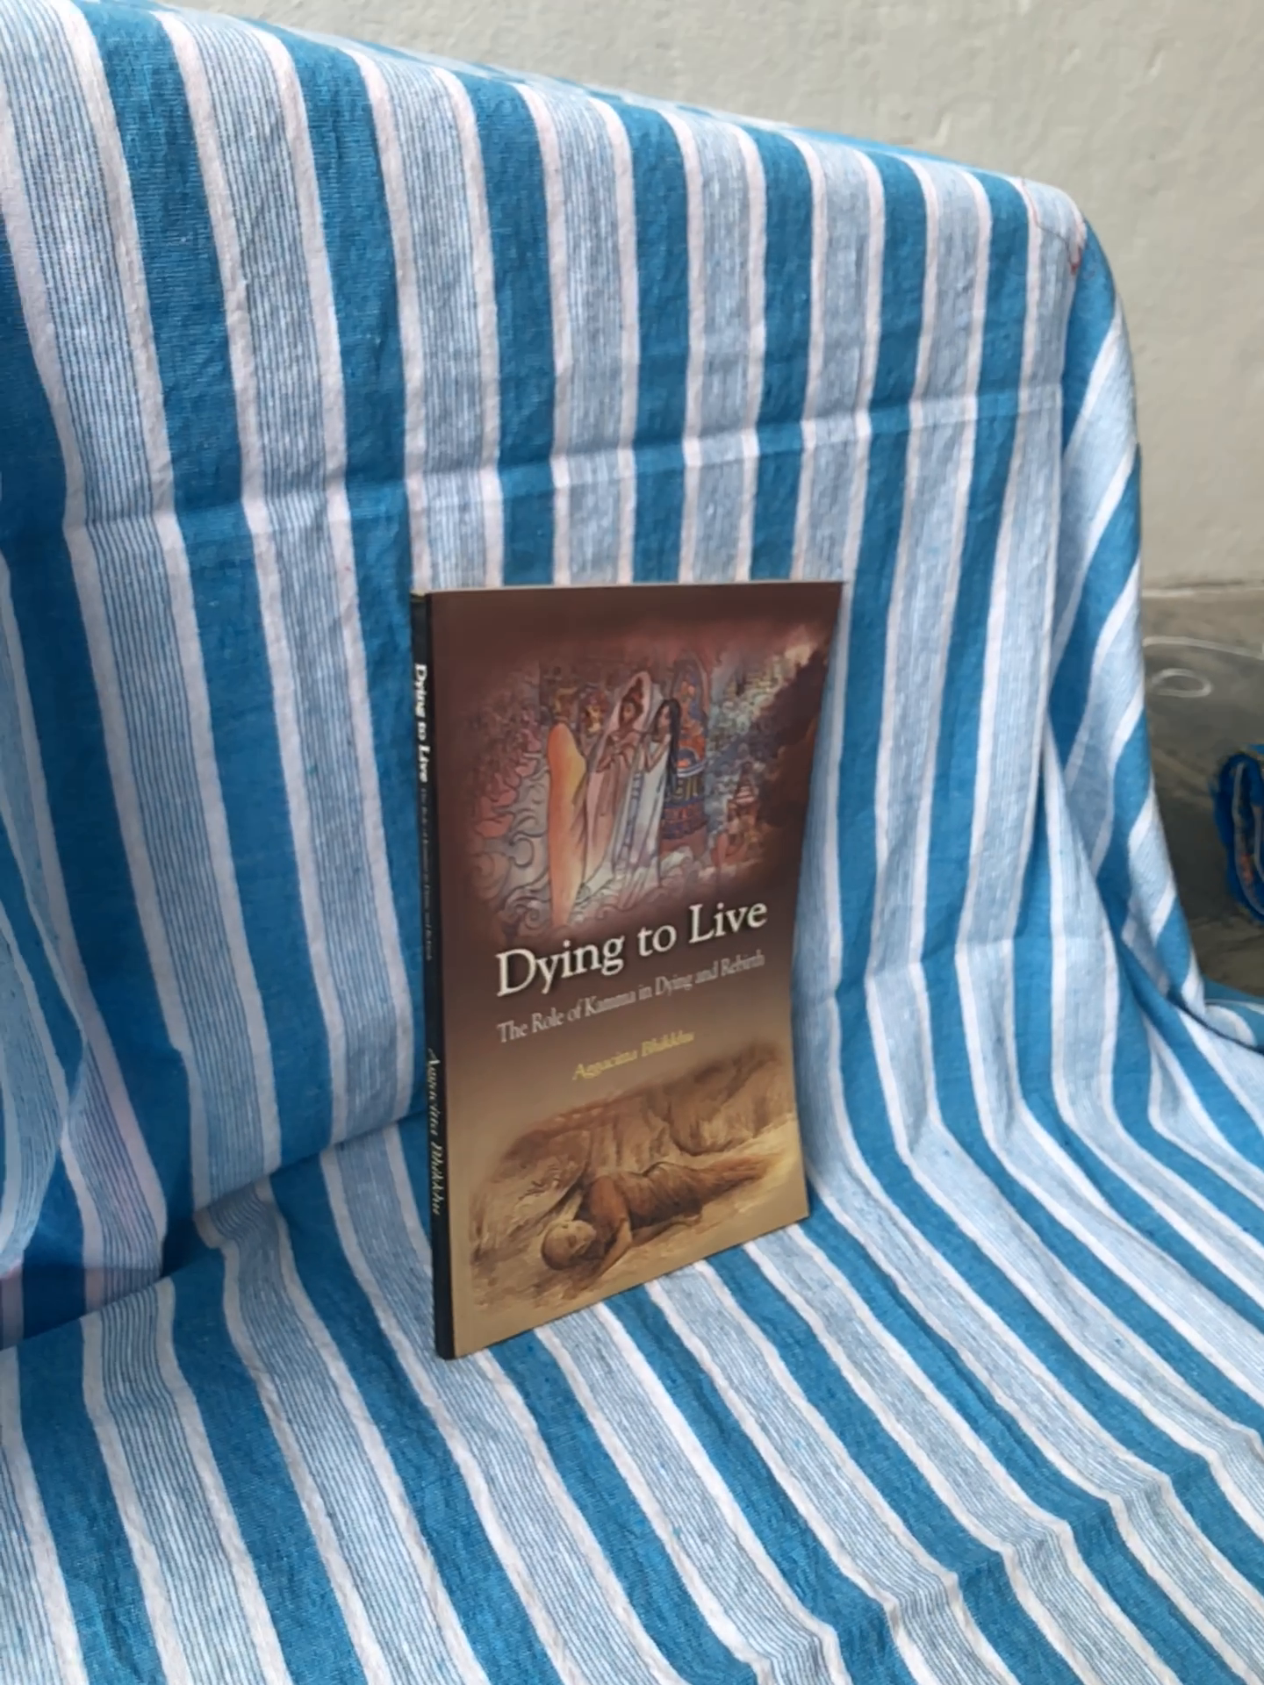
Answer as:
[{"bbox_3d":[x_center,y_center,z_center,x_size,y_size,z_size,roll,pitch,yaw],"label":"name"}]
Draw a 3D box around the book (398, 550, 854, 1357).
[{"bbox_3d":[0.005,0.023,0.412,0.151,0.210,0.020,-8,12,-39],"label":"book"}]
